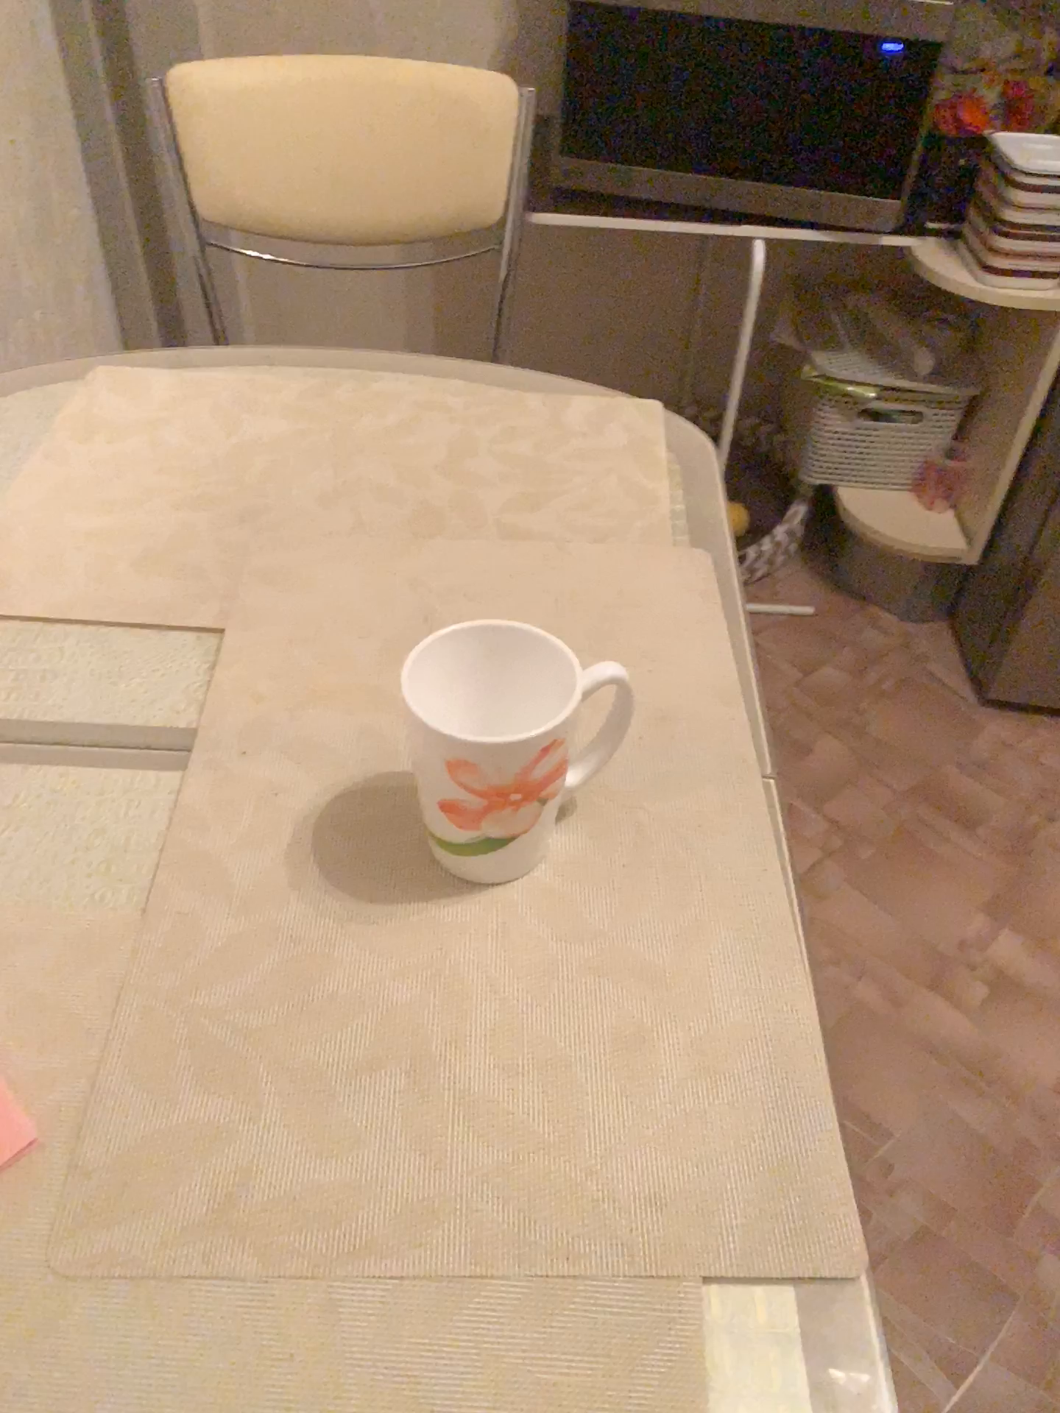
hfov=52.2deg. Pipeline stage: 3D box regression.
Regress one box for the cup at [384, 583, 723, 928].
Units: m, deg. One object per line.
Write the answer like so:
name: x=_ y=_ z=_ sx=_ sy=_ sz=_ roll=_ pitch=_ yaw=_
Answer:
cup: x=0.005 y=0.020 z=0.491 sx=0.120 sy=0.099 sz=0.091 roll=-11 pitch=46 yaw=-14
